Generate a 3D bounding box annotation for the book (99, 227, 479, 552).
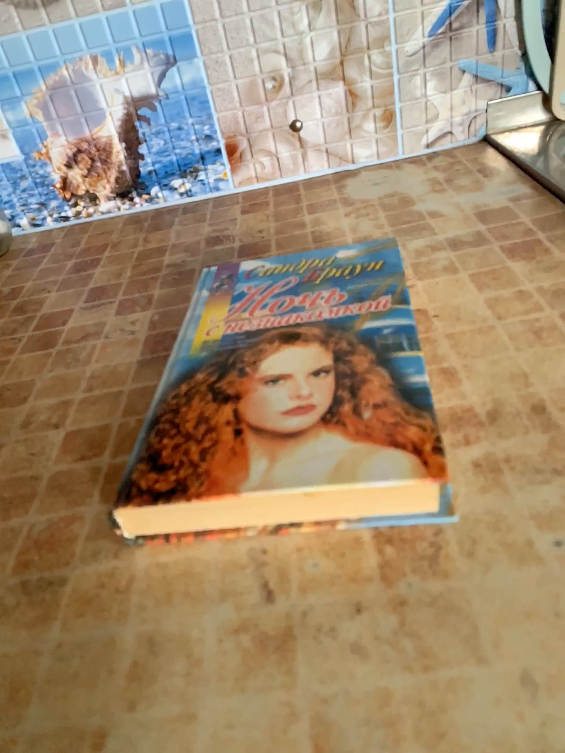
[{"bbox_3d":[0.009,-0.011,0.280,0.130,0.028,0.199,-7,36,10],"label":"book"}]
